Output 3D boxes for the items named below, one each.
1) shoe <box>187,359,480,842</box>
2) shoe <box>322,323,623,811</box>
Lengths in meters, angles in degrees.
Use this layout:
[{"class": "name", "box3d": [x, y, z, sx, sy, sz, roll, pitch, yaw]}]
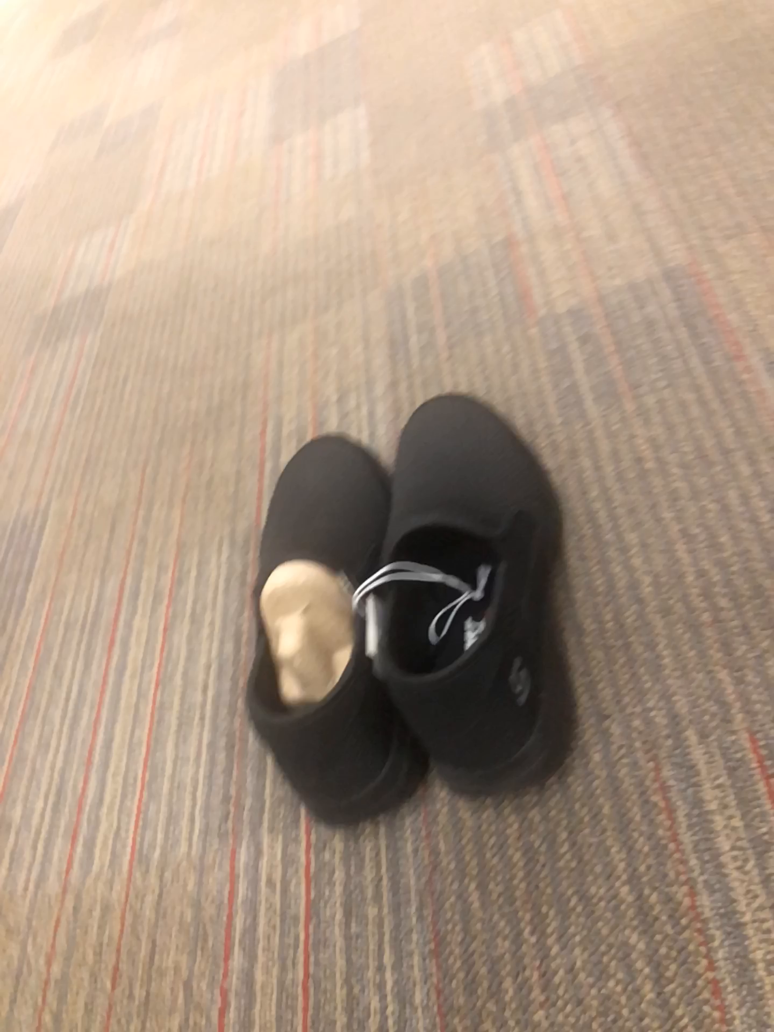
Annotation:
[{"class": "shoe", "box3d": [-0.033, 0.043, 0.527, 0.117, 0.105, 0.258, -19, 47, 15]}, {"class": "shoe", "box3d": [0.041, 0.023, 0.507, 0.121, 0.109, 0.248, -18, 47, 17]}]
